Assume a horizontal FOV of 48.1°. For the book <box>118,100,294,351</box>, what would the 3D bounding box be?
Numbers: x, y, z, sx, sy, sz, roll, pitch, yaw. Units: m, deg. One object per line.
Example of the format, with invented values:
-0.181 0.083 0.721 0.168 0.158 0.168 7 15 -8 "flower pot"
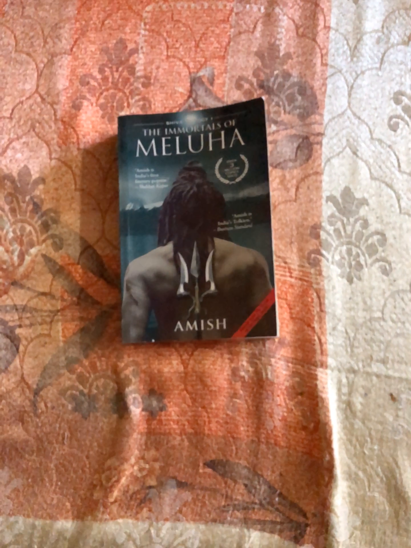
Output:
0.000 -0.038 0.378 0.130 0.040 0.200 -1 81 2 "book"
